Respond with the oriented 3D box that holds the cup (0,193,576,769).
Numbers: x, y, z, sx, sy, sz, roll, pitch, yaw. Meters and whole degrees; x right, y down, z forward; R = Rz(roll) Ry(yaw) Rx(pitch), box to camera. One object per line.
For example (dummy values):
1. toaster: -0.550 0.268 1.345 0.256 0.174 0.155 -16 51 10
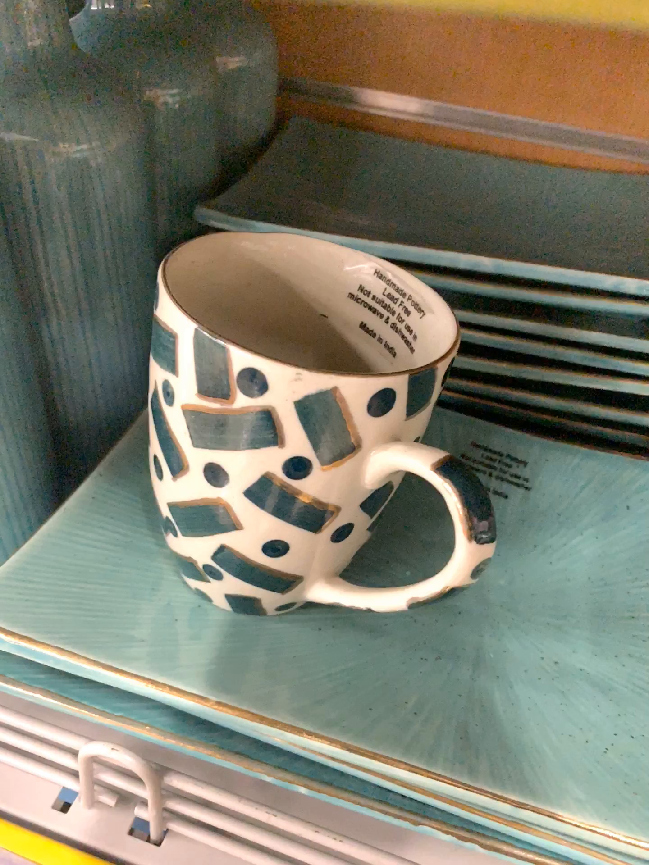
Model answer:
1. cup: -0.014 0.001 0.177 0.110 0.080 0.080 31 37 20
